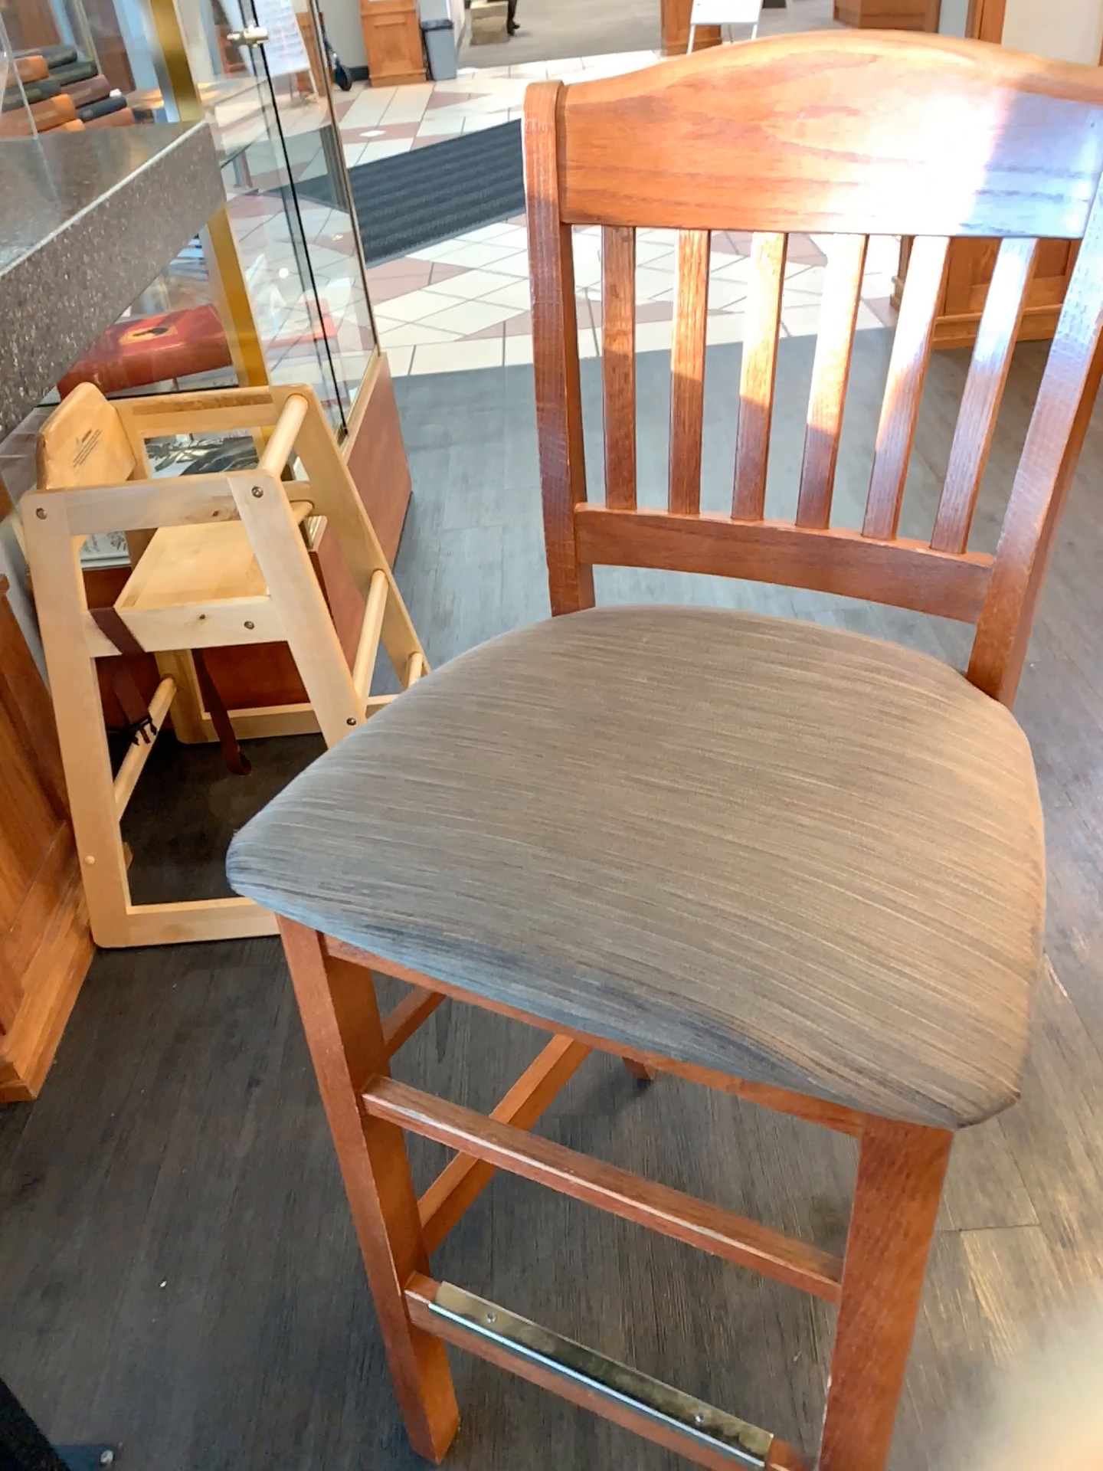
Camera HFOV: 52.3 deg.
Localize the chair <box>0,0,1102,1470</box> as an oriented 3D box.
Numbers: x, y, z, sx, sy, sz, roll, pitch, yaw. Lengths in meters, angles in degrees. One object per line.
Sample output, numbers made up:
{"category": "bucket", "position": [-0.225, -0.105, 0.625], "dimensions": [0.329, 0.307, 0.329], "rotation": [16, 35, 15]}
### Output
{"category": "chair", "position": [0.073, 0.086, 0.890], "dimensions": [0.601, 1.045, 0.662], "rotation": [14, 41, 25]}
